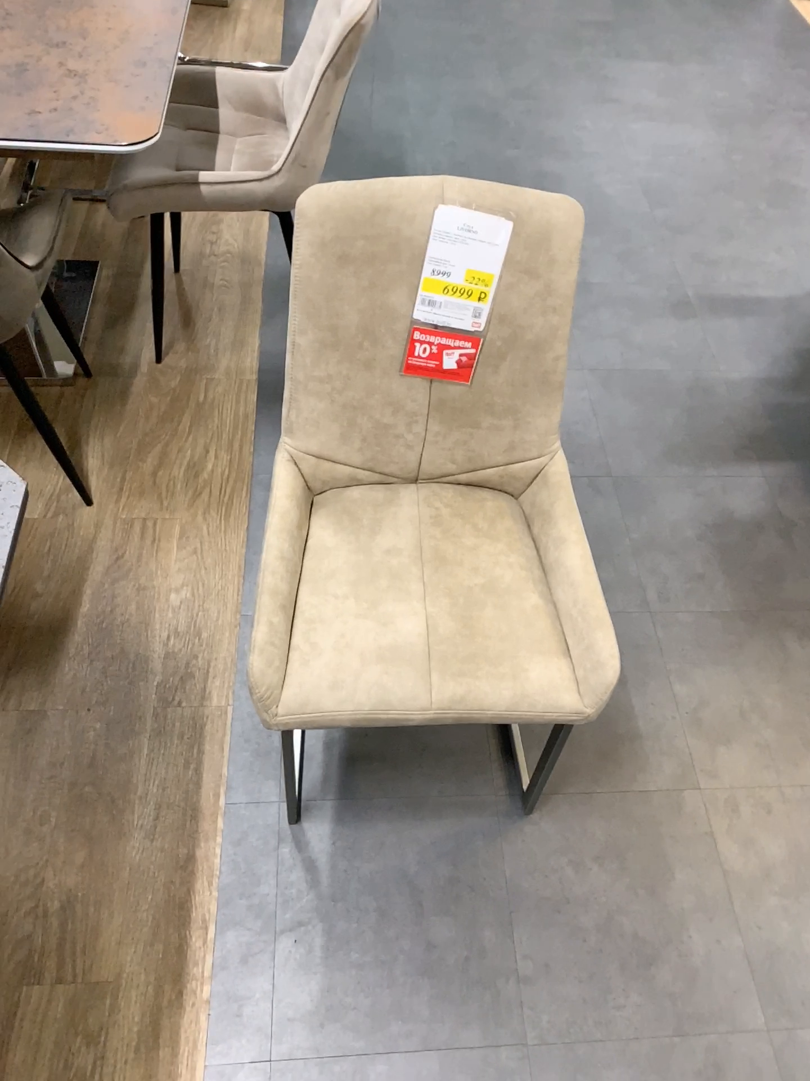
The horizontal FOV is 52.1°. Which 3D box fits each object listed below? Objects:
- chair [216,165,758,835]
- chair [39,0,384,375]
[{"bbox_3d":[0.030,0.002,1.293,0.510,0.888,0.585,-1,52,-6],"label":"chair"},{"bbox_3d":[-0.392,-0.892,2.000,0.624,0.843,0.482,0,52,-5],"label":"chair"}]
